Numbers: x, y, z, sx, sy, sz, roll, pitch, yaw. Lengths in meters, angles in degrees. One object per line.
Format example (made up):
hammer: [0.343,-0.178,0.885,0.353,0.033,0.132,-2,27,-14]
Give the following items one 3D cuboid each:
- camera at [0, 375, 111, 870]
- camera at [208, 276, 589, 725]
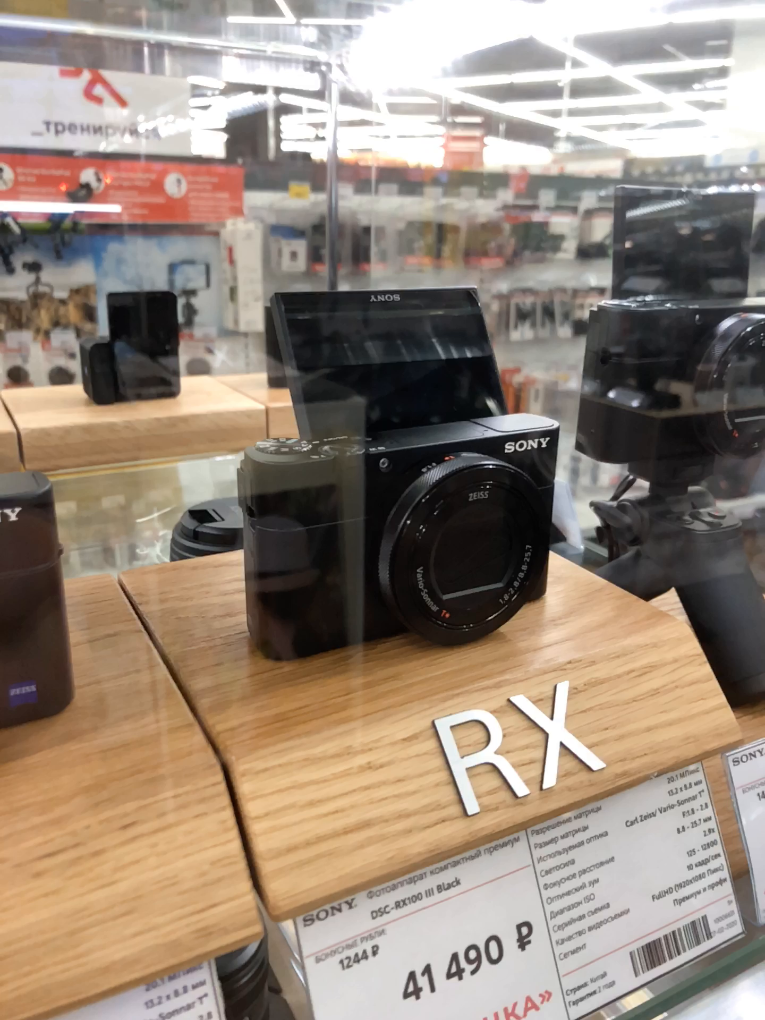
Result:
camera: [-0.130,0.012,0.205,0.101,0.067,0.097,-8,20,-27]
camera: [0.004,-0.010,0.267,0.100,0.120,0.050,-8,20,-27]
